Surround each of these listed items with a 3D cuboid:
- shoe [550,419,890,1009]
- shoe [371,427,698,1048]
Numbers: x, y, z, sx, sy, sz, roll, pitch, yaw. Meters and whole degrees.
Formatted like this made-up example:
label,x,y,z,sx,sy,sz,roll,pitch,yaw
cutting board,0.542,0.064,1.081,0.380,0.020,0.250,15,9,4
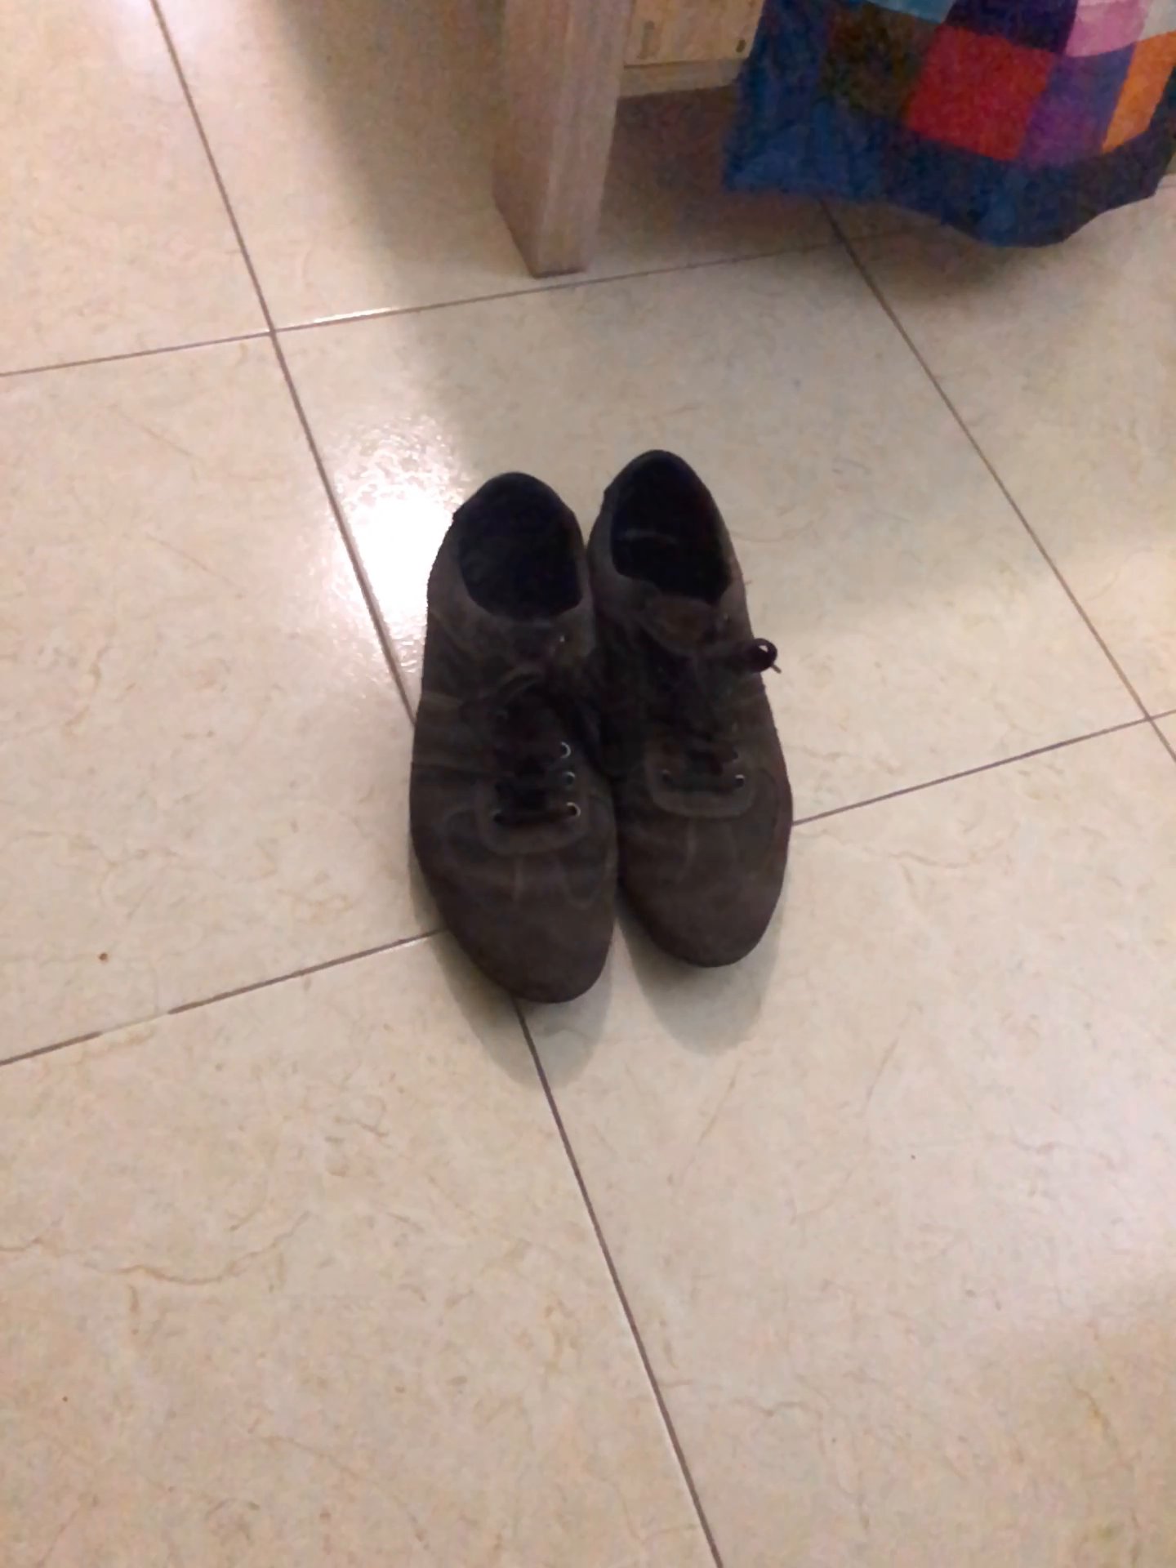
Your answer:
label,x,y,z,sx,sy,sz,roll,pitch,yaw
shoe,0.057,-0.045,0.702,0.110,0.110,0.301,-3,62,-10
shoe,-0.040,-0.032,0.675,0.120,0.110,0.301,-4,62,-11
